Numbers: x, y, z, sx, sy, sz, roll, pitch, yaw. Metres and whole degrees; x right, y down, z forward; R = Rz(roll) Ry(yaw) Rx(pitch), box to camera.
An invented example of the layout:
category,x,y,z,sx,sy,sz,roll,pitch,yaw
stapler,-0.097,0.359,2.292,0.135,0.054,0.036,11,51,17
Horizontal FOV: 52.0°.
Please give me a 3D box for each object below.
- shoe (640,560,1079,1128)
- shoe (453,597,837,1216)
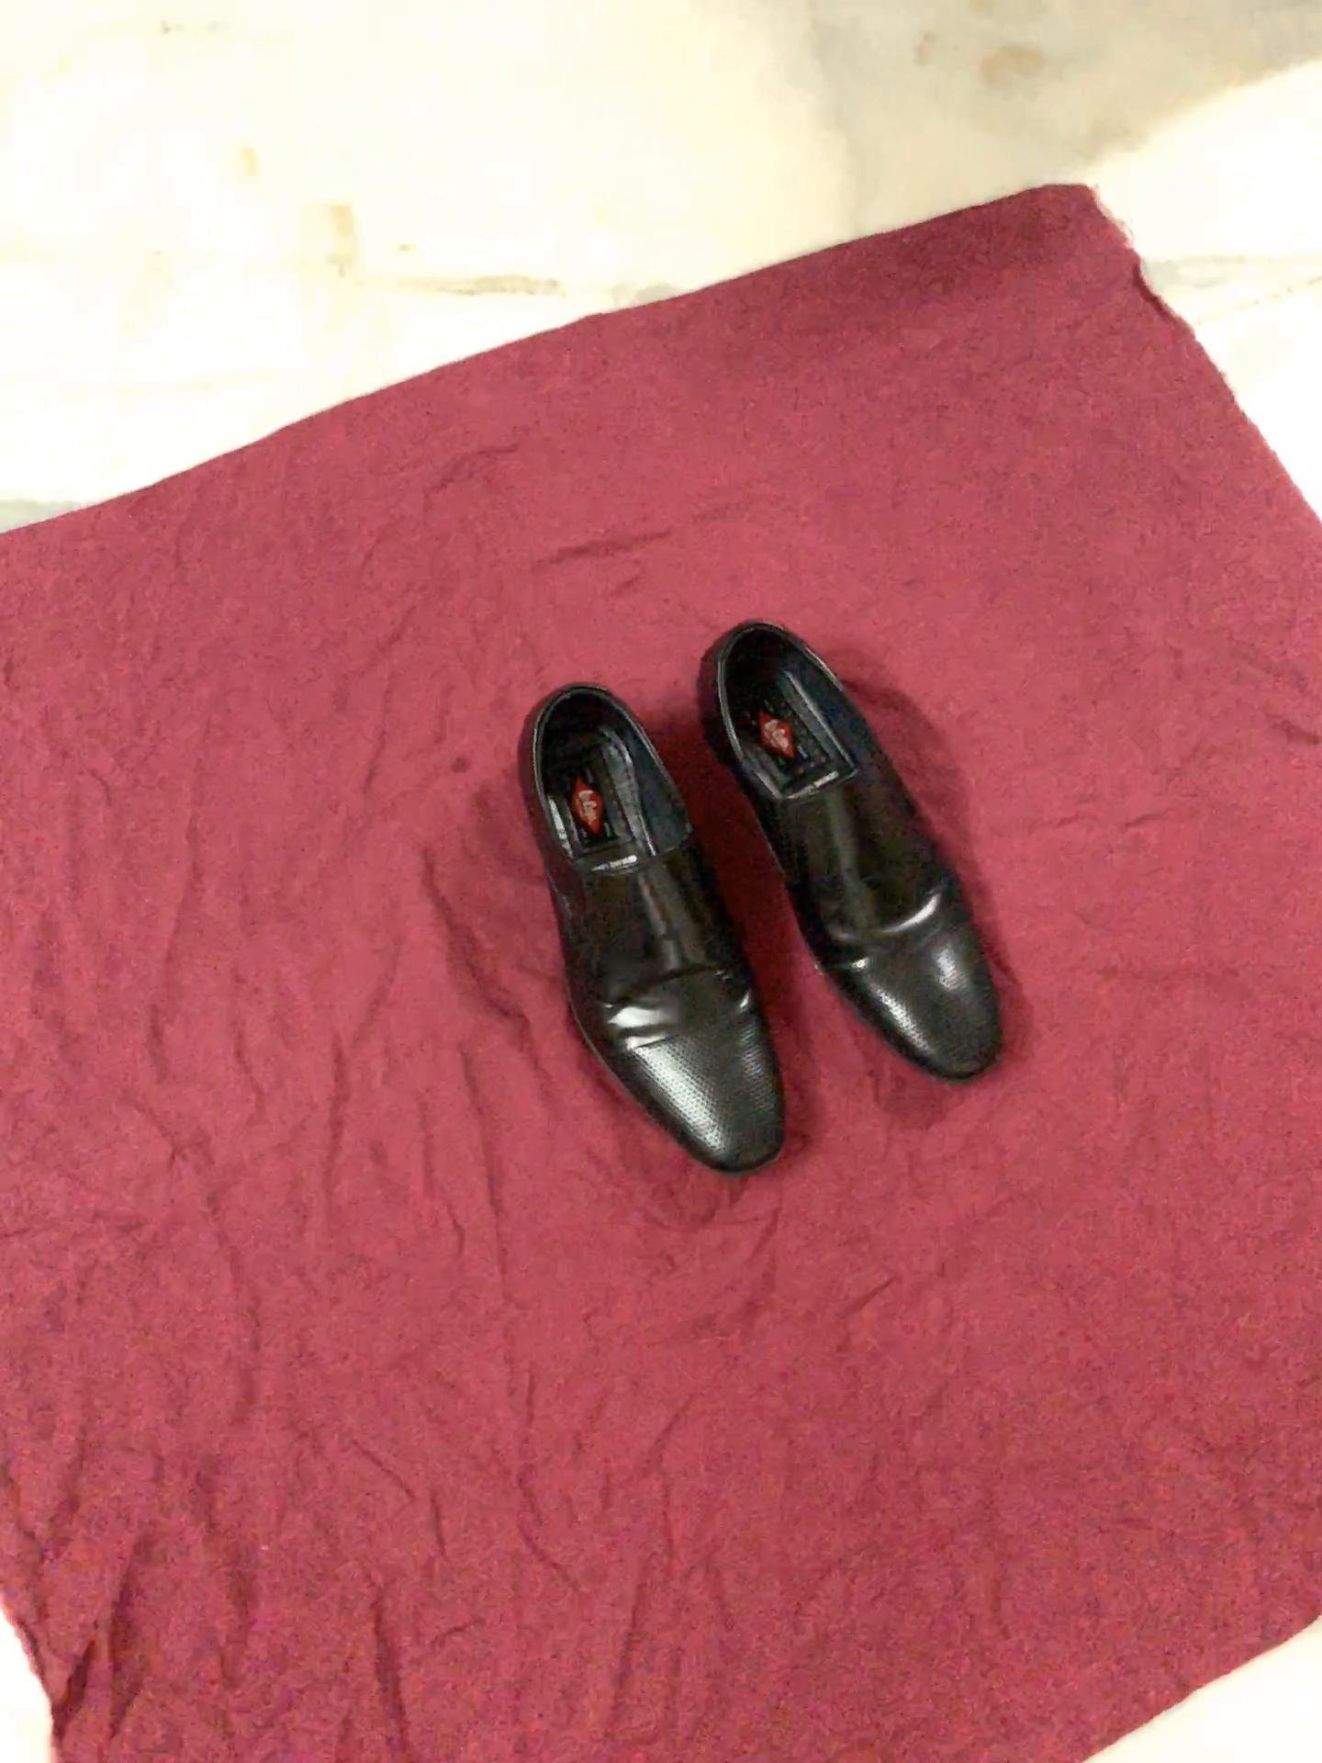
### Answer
category,x,y,z,sx,sy,sz,roll,pitch,yaw
shoe,0.098,-0.023,0.762,0.100,0.100,0.291,-25,72,-10
shoe,-0.015,0.011,0.726,0.100,0.100,0.301,-18,70,-8
